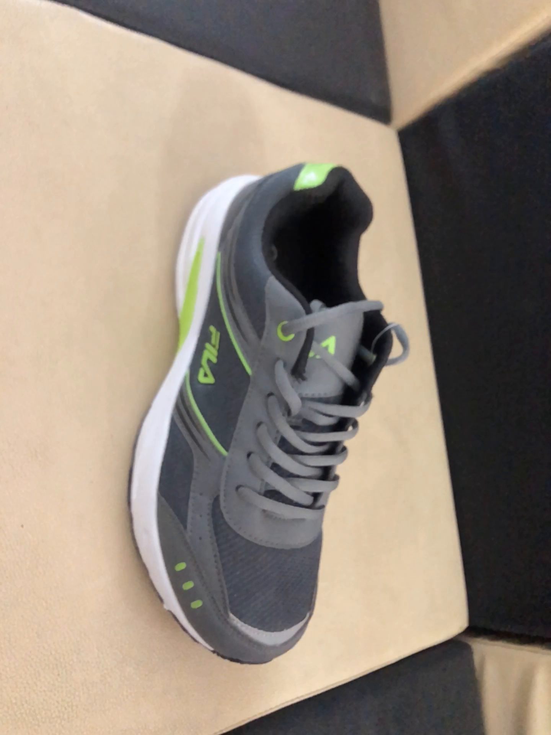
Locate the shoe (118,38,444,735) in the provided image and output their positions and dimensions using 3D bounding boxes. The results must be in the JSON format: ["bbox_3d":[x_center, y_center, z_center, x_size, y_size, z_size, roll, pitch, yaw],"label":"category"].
[{"bbox_3d":[0.001,0.005,0.353,0.131,0.099,0.320,10,71,-35],"label":"shoe"}]
